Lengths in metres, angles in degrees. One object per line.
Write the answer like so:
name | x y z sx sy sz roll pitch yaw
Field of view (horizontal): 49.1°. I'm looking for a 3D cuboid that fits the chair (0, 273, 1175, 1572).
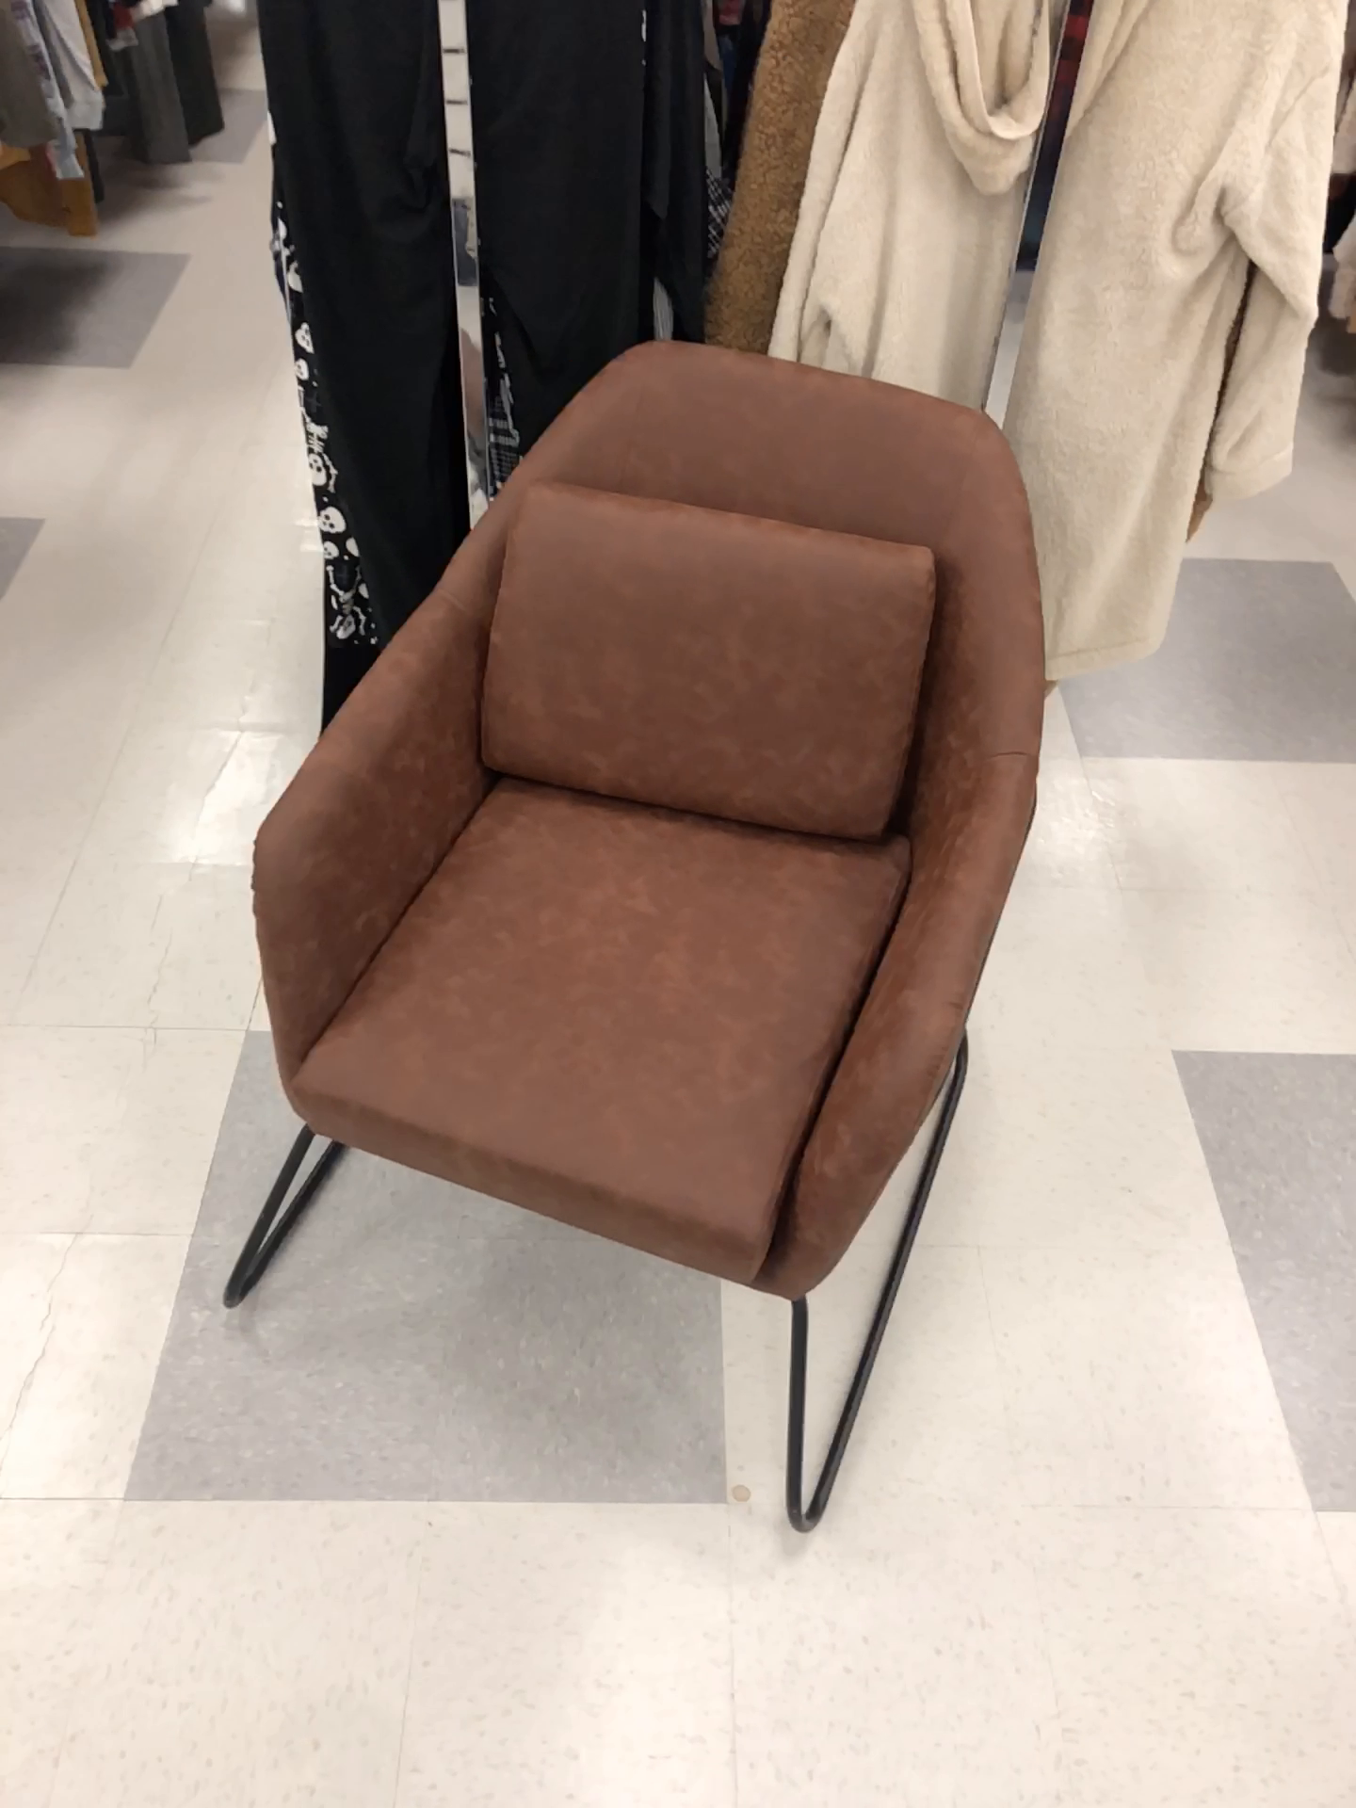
chair | -0.039 0.001 1.491 0.734 0.849 0.763 17 46 13
